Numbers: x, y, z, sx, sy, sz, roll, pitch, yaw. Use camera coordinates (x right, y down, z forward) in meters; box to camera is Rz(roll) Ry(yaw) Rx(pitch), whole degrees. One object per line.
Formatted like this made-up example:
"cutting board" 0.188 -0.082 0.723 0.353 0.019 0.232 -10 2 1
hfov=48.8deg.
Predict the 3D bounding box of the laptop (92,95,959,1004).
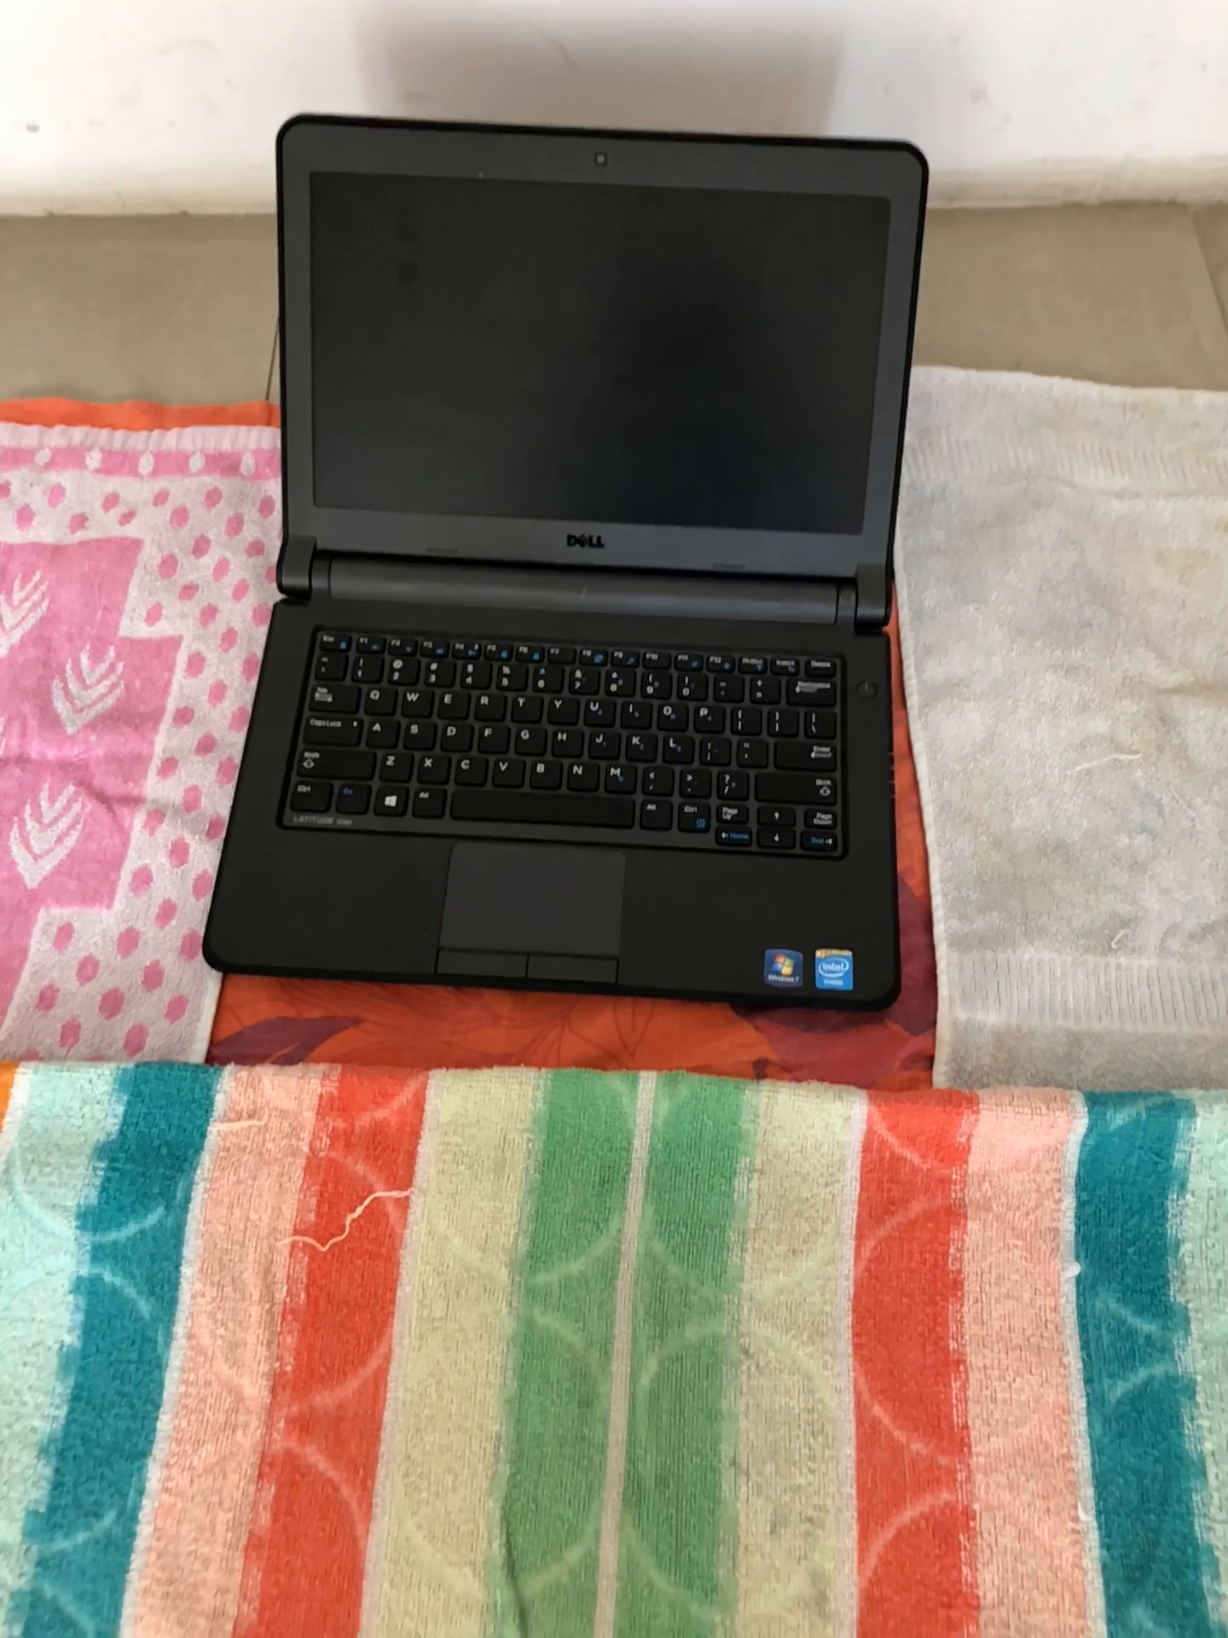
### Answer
"laptop" -0.019 -0.135 0.635 0.313 0.143 0.393 3 64 1
